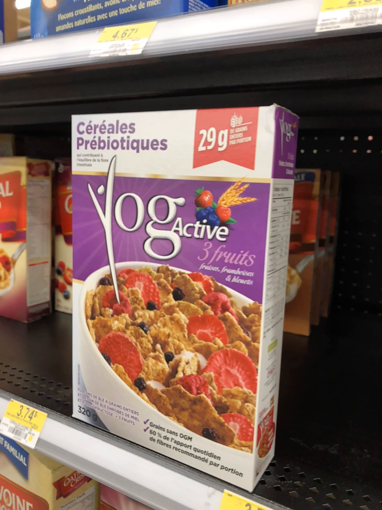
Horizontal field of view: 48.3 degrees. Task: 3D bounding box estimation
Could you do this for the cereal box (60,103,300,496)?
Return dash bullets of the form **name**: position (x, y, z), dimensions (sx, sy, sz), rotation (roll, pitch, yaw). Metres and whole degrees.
- **cereal box**: position (-0.020, 0.025, 0.366), dimensions (0.190, 0.279, 0.060), rotation (8, 11, 30)
